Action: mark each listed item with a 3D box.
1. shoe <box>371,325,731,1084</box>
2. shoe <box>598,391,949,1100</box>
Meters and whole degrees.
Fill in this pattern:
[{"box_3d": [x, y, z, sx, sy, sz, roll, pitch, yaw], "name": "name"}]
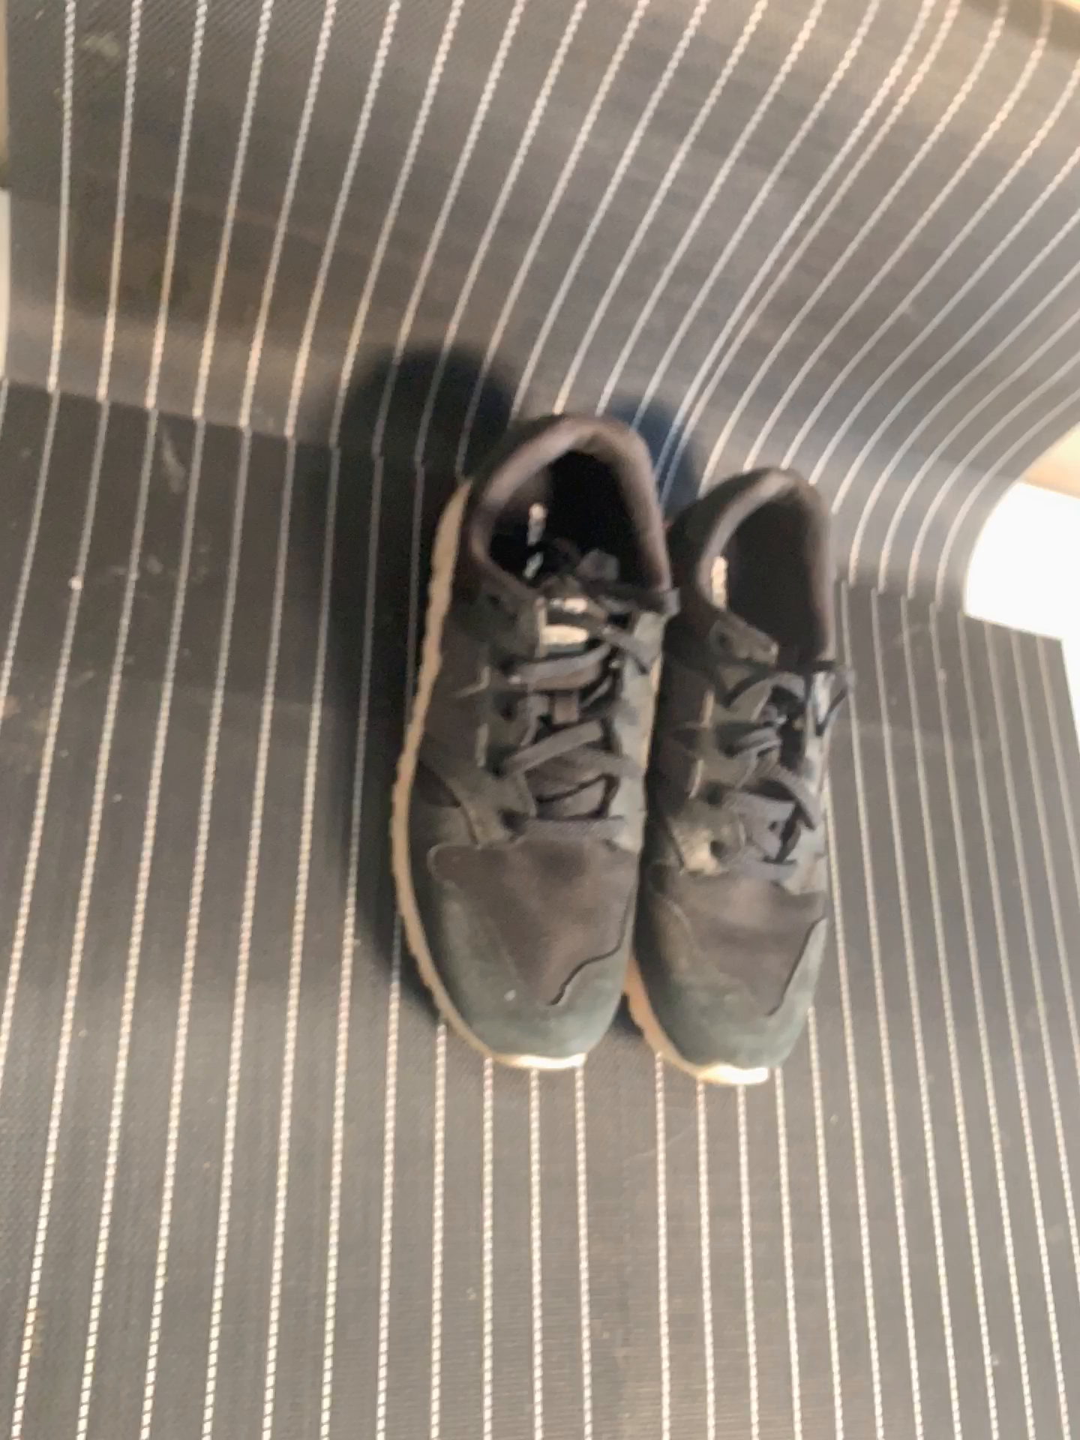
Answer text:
[{"box_3d": [0.000, -0.005, 0.480, 0.110, 0.090, 0.300, 8, 67, -21], "name": "shoe"}, {"box_3d": [0.096, 0.012, 0.516, 0.110, 0.090, 0.300, 10, 66, -20], "name": "shoe"}]
